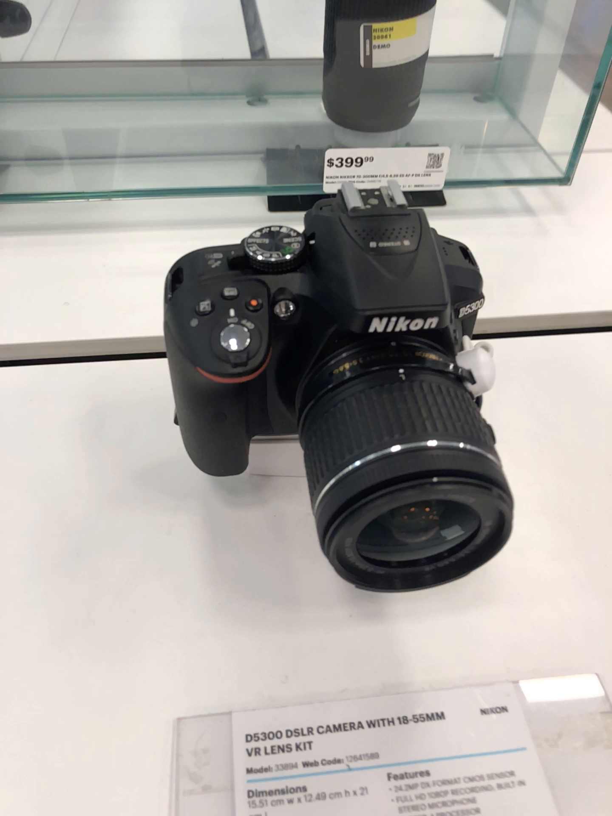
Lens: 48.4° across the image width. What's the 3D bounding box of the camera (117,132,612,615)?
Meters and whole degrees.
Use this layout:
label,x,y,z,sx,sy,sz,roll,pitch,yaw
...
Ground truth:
label,x,y,z,sx,sy,sz,roll,pitch,yaw
camera,0.010,-0.020,0.249,0.130,0.100,0.140,-4,45,-7
